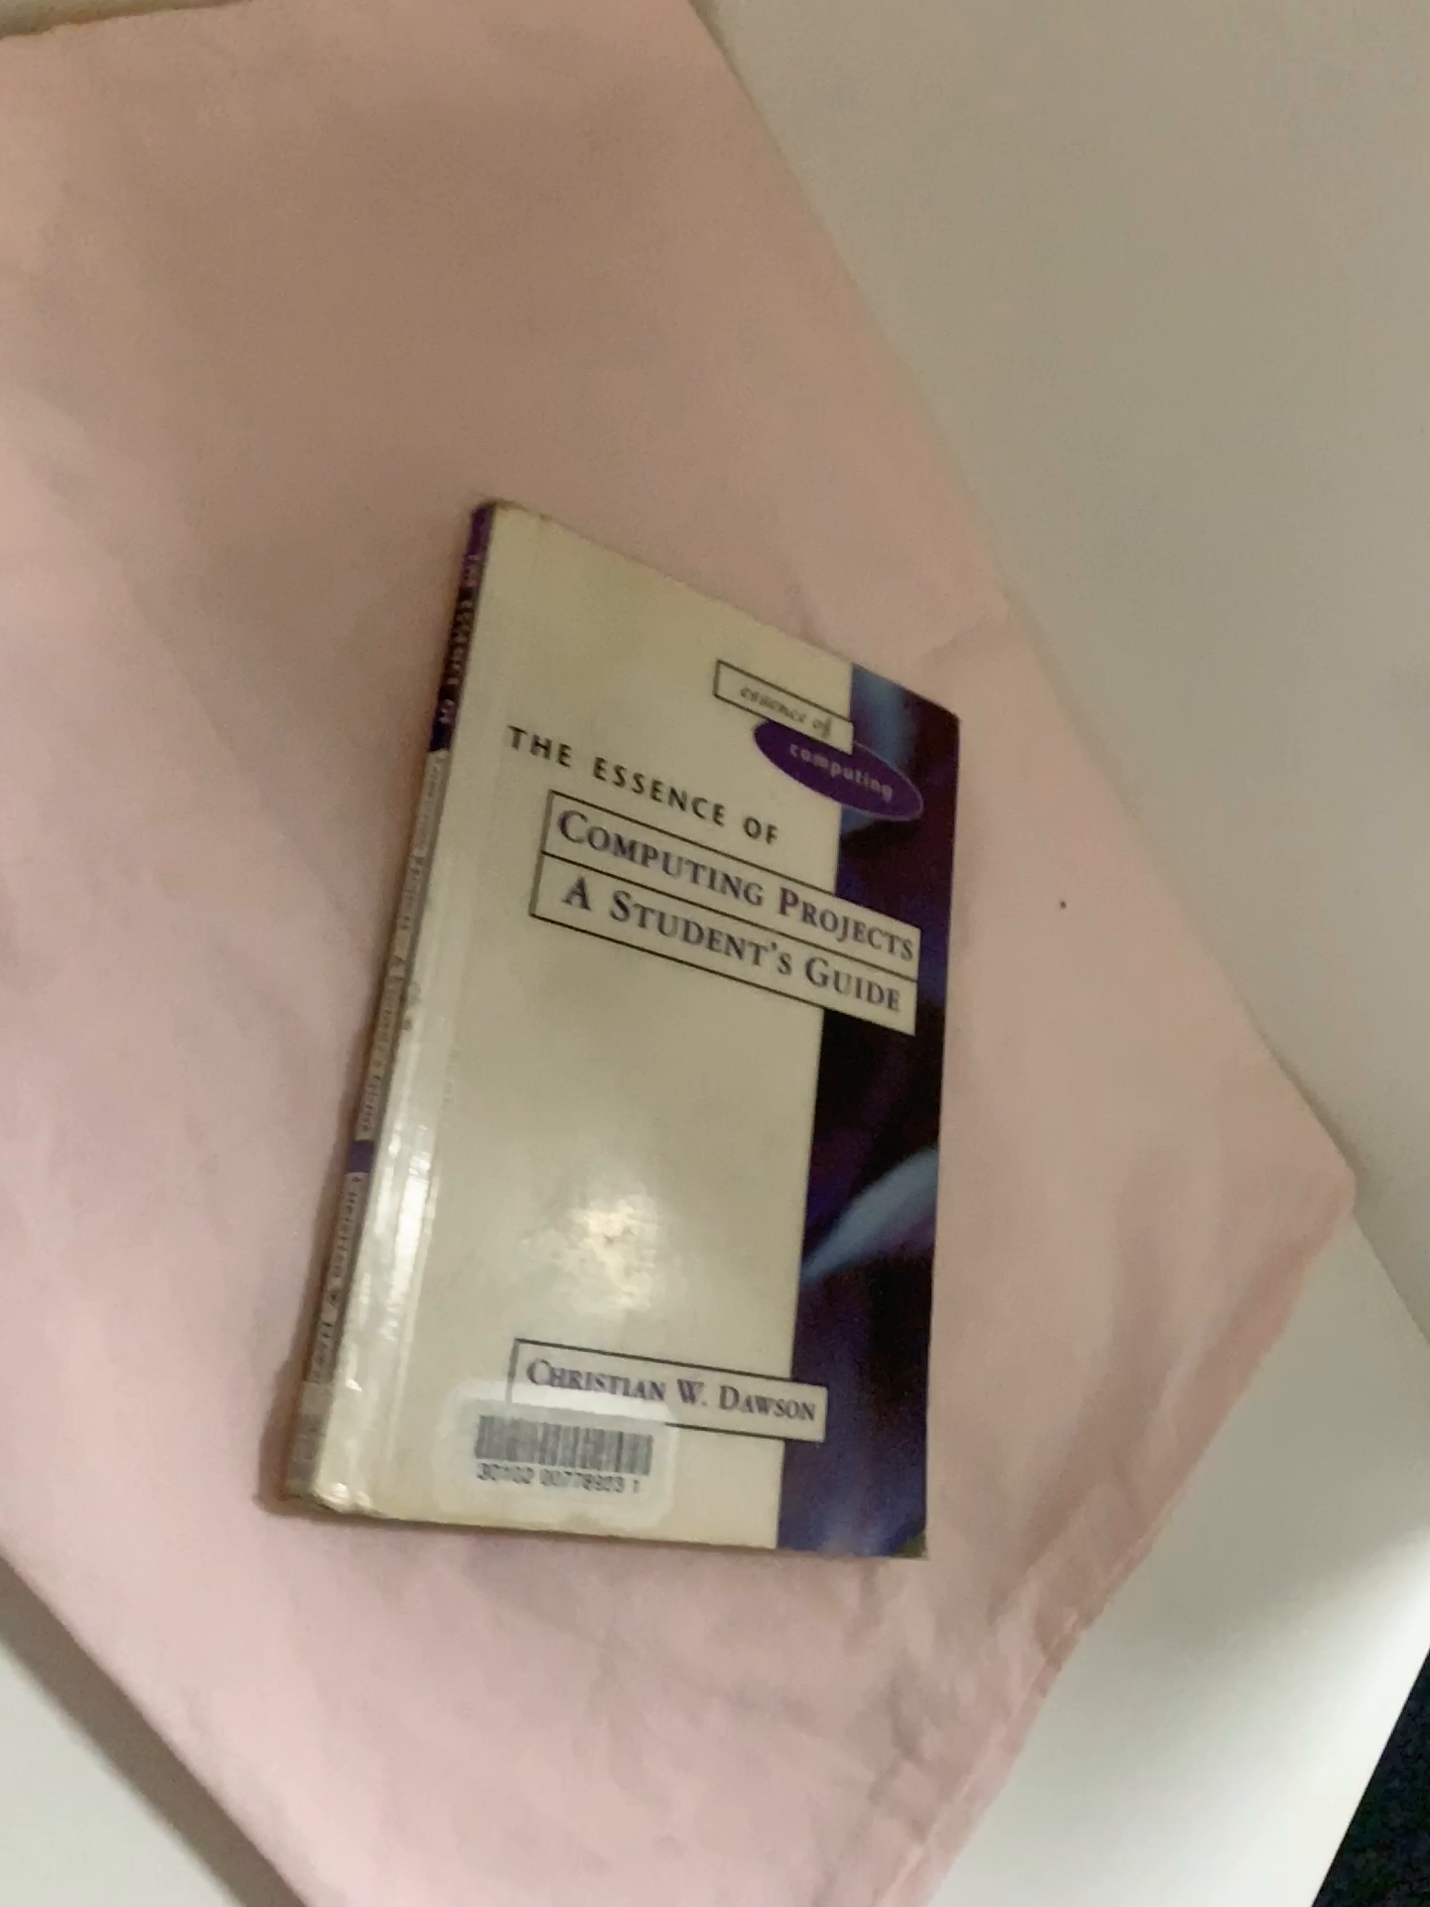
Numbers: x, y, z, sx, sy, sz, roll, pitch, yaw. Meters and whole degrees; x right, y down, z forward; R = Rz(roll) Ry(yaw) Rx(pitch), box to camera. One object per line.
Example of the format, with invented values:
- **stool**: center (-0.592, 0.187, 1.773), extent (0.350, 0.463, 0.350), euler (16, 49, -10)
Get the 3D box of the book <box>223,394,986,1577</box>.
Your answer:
- **book**: center (-0.007, 0.009, 0.367), extent (0.171, 0.020, 0.261), euler (18, 67, -29)
